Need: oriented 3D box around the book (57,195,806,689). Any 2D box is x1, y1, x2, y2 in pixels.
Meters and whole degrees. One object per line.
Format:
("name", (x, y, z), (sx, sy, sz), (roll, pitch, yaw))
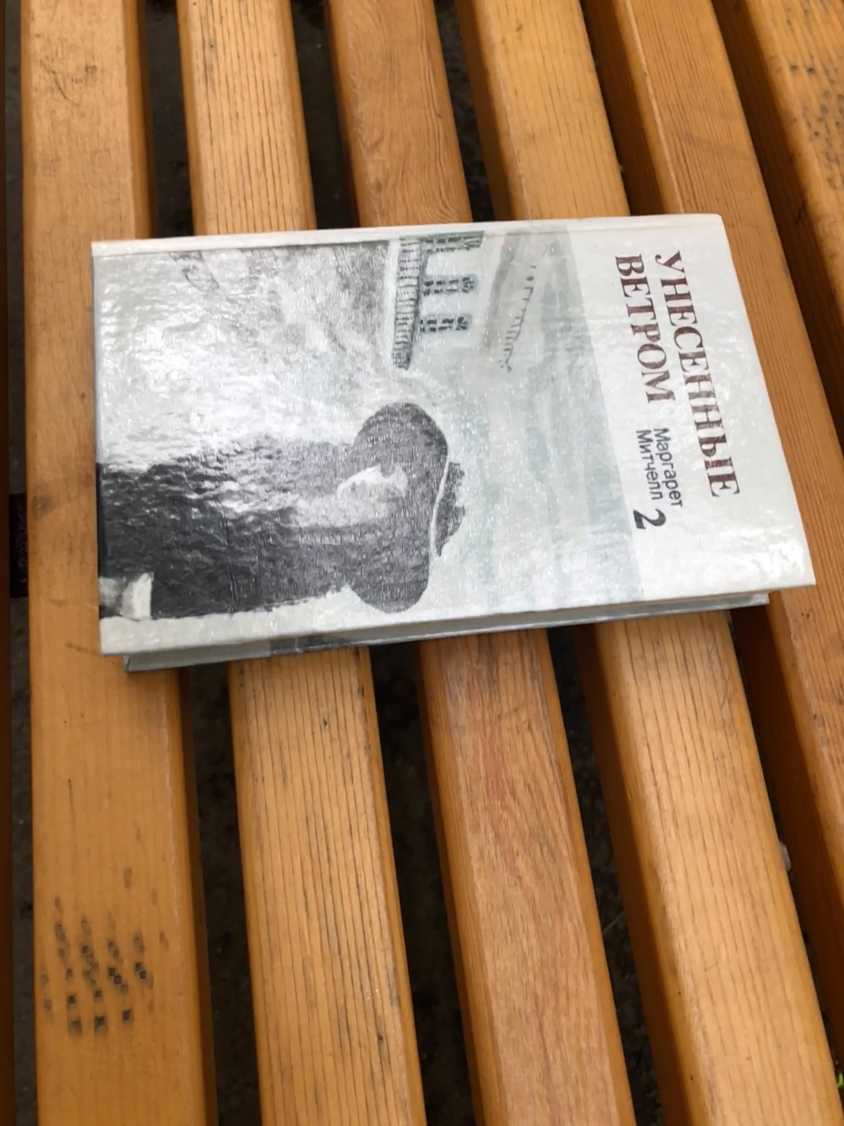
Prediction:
("book", (-0.002, -0.042, 0.296), (0.210, 0.030, 0.140), (-5, 73, -6))
